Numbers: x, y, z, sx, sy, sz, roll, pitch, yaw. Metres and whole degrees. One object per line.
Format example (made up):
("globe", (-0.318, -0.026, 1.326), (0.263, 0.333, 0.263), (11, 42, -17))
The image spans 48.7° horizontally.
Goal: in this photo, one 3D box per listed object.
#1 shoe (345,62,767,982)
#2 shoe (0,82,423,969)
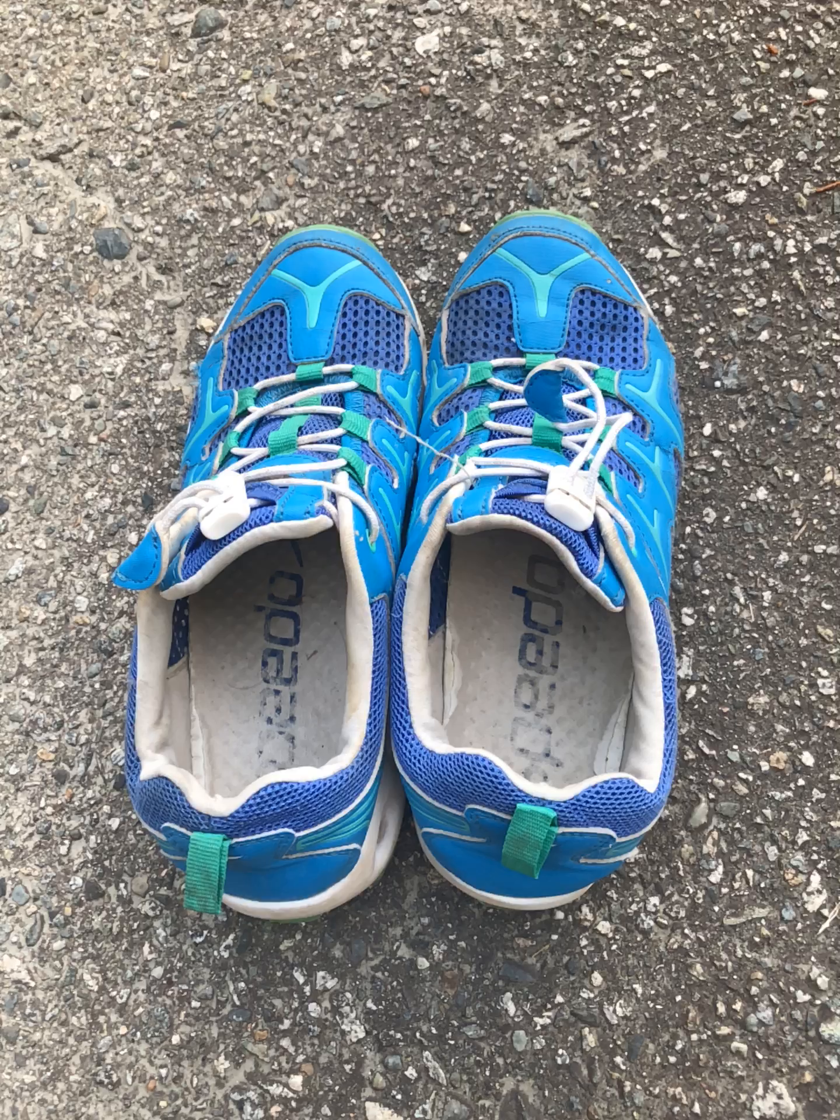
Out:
("shoe", (0.041, -0.015, 0.293), (0.100, 0.090, 0.250), (1, 77, 6))
("shoe", (-0.059, -0.015, 0.313), (0.100, 0.090, 0.260), (1, 77, 6))
